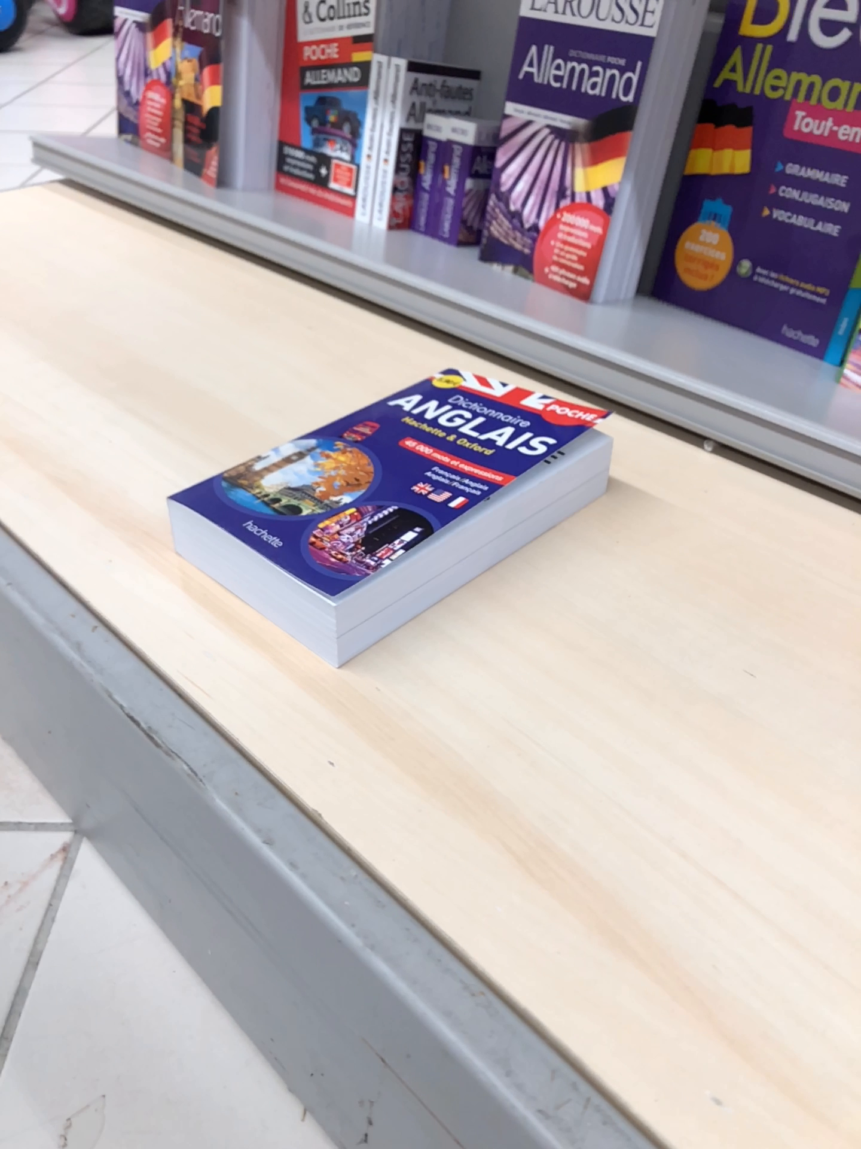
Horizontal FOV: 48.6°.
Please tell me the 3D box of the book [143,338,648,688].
[{"bbox_3d":[-0.009,-0.041,0.421,0.119,0.040,0.188,30,46,33],"label":"book"}]
